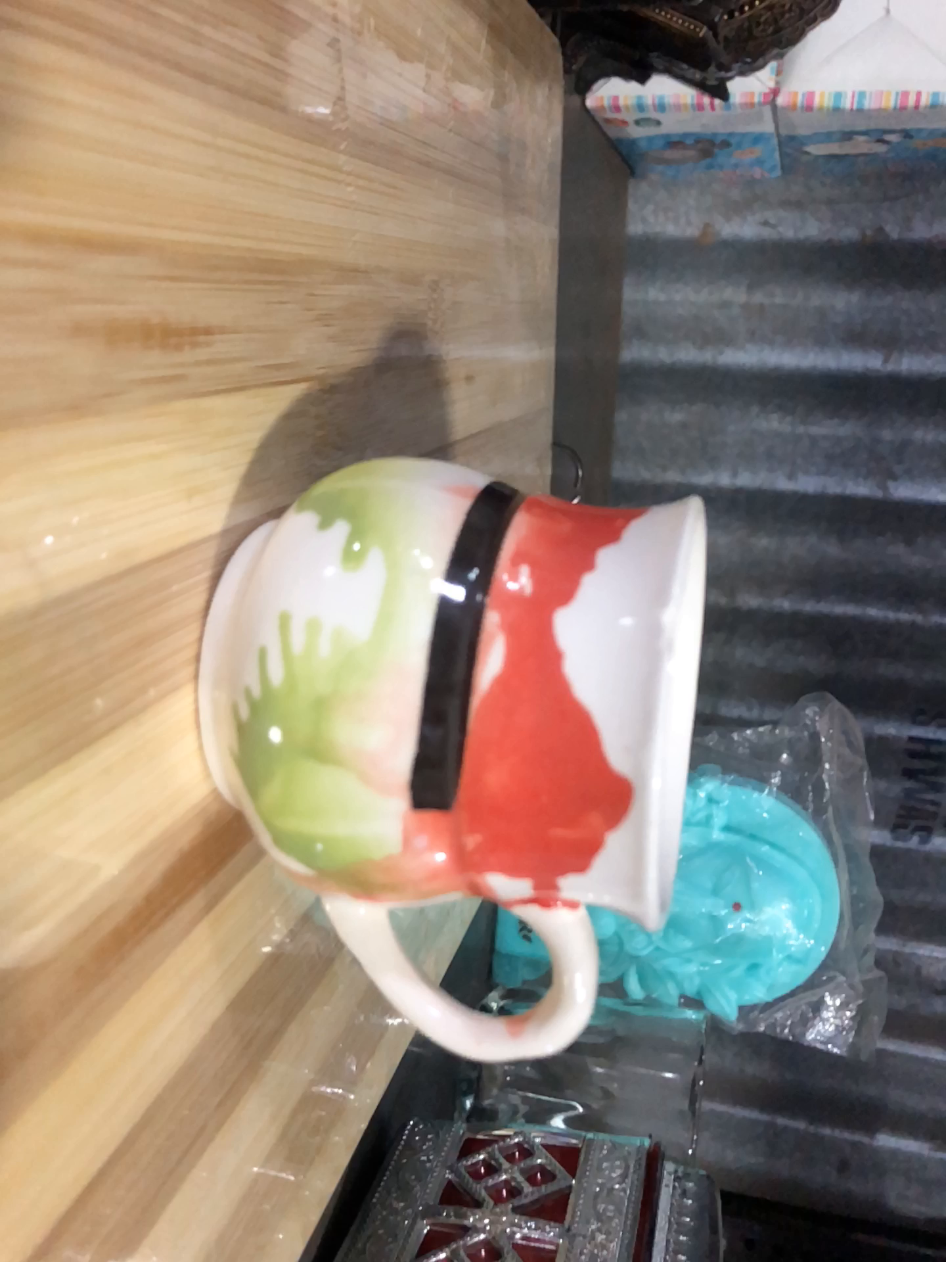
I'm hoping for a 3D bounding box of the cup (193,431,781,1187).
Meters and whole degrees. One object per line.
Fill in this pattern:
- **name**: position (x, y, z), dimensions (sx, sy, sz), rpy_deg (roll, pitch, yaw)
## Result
- **cup**: position (0.005, 0.017, 0.160), dimensions (0.060, 0.070, 0.090), rpy_deg (-39, 133, -73)
